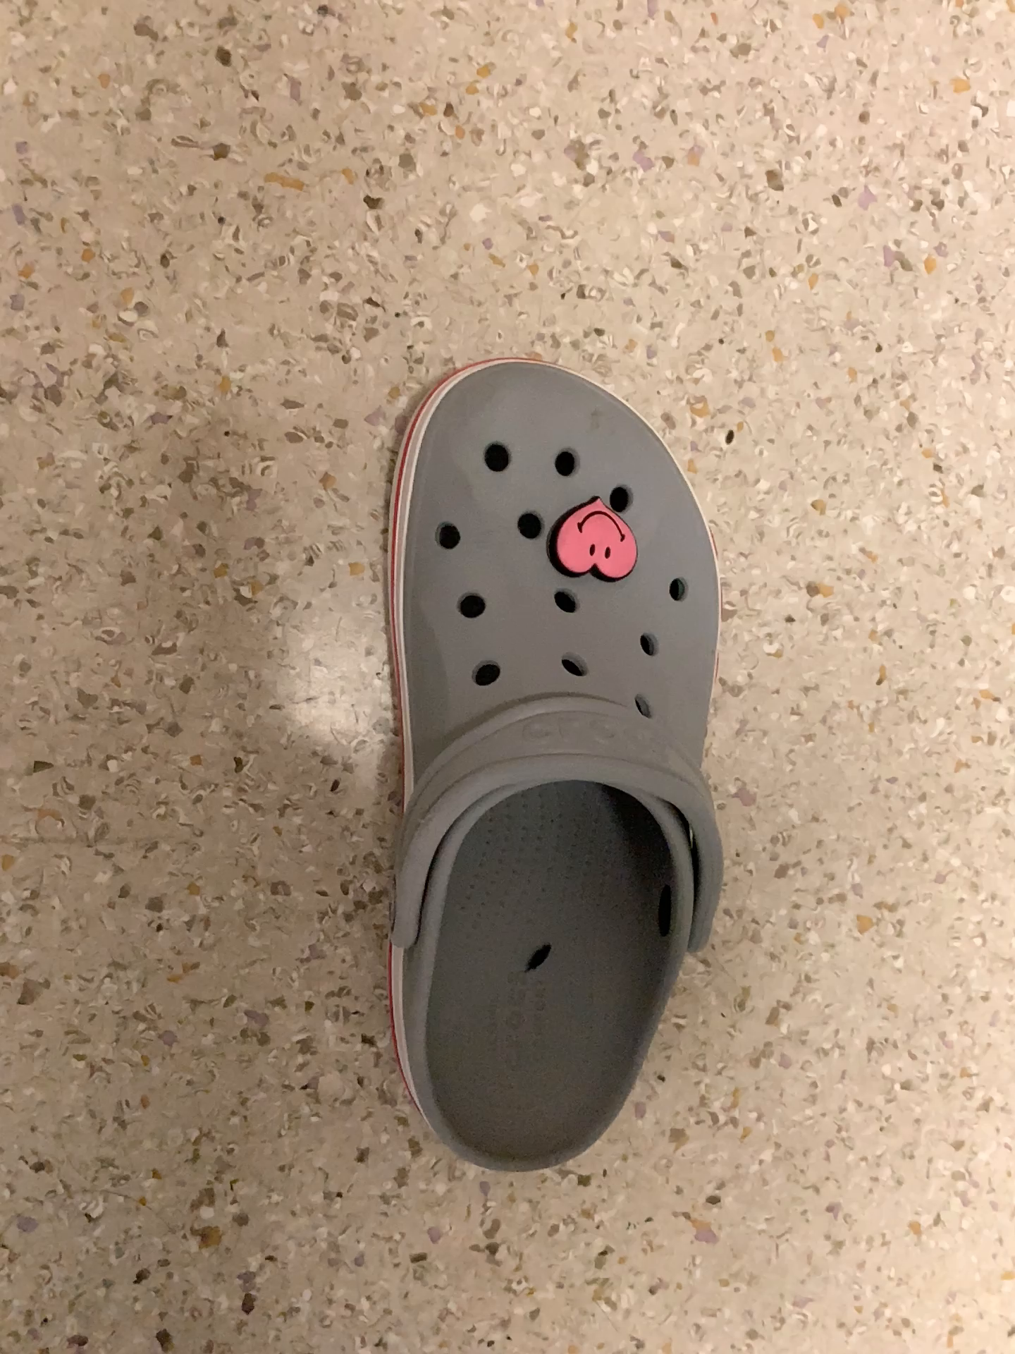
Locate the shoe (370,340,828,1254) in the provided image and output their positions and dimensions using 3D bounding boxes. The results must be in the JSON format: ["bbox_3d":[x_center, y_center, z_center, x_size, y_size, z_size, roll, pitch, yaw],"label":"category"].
[{"bbox_3d":[0.020,0.030,0.314,0.109,0.091,0.226,1,92,-12],"label":"shoe"}]
